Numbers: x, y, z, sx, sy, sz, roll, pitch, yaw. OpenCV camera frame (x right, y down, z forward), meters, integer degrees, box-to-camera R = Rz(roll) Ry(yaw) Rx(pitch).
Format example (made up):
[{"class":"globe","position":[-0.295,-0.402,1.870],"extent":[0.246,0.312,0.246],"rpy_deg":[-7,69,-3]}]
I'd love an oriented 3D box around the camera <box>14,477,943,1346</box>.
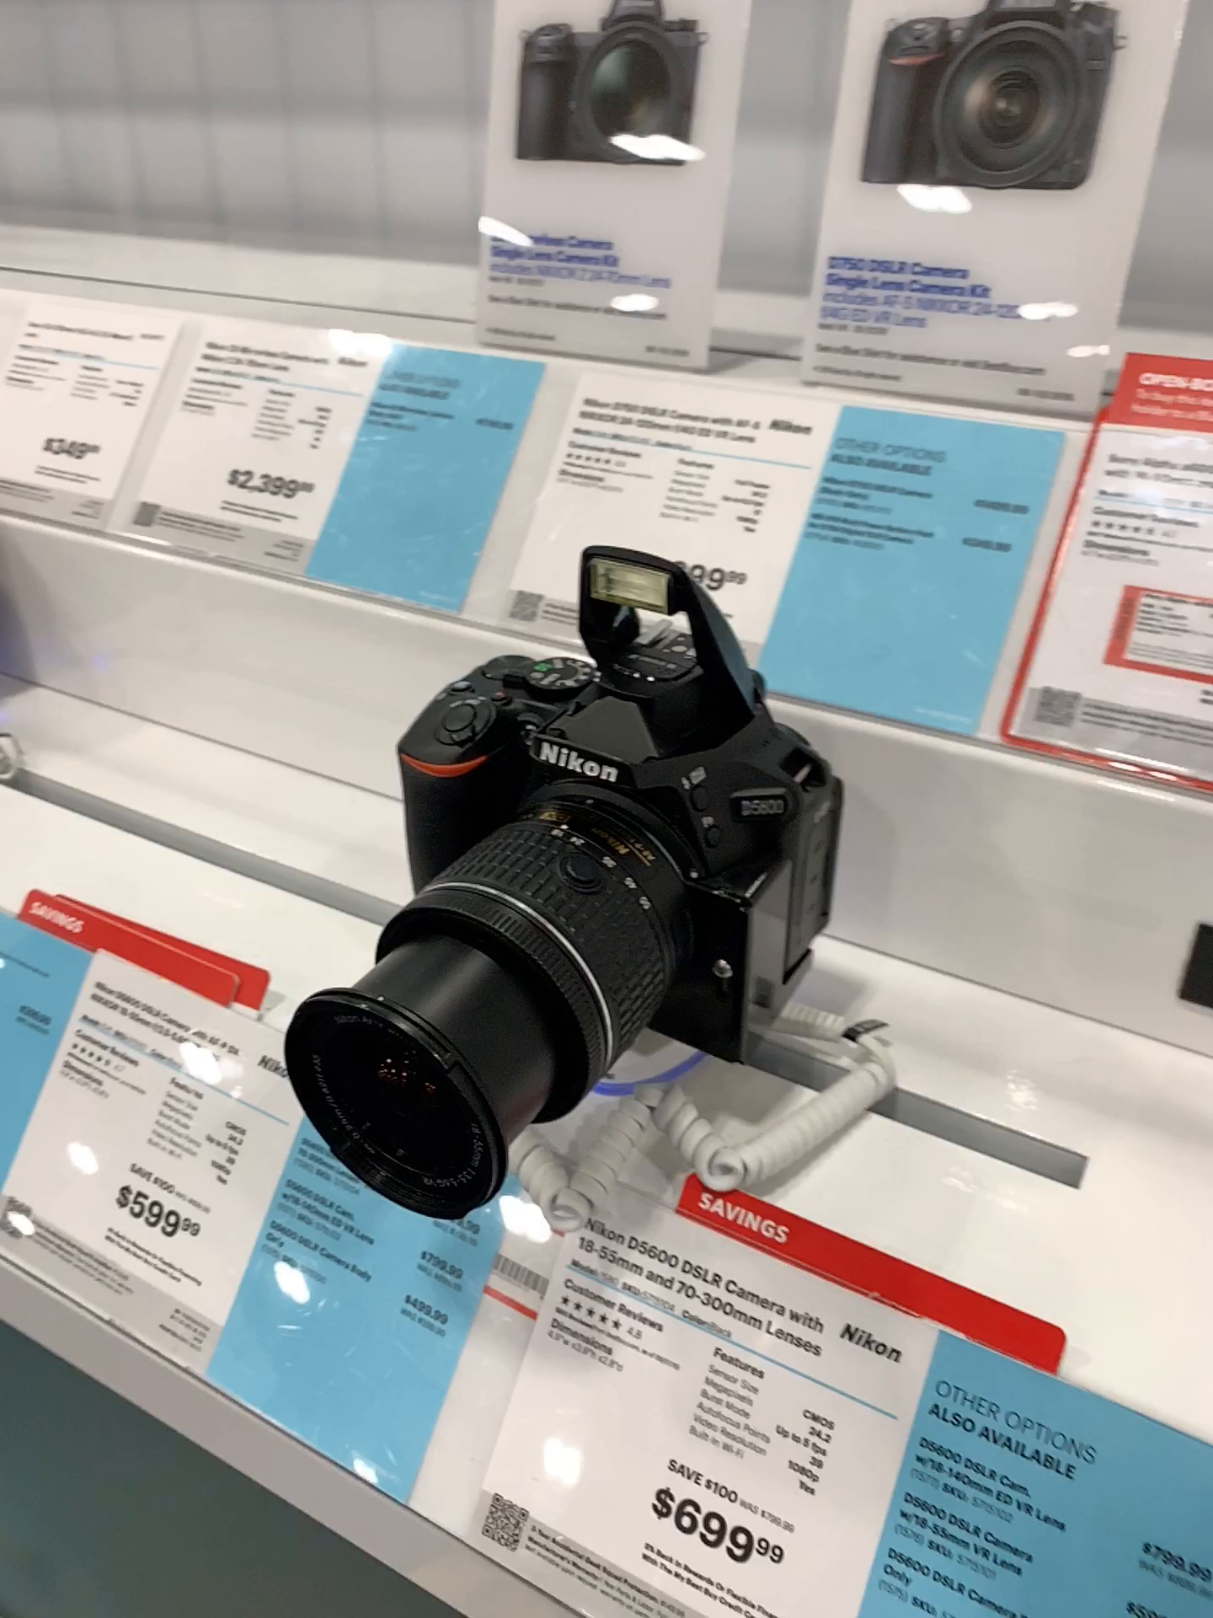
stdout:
[{"class":"camera","position":[-0.013,0.000,0.323],"extent":[0.140,0.109,0.191],"rpy_deg":[14,32,22]}]
